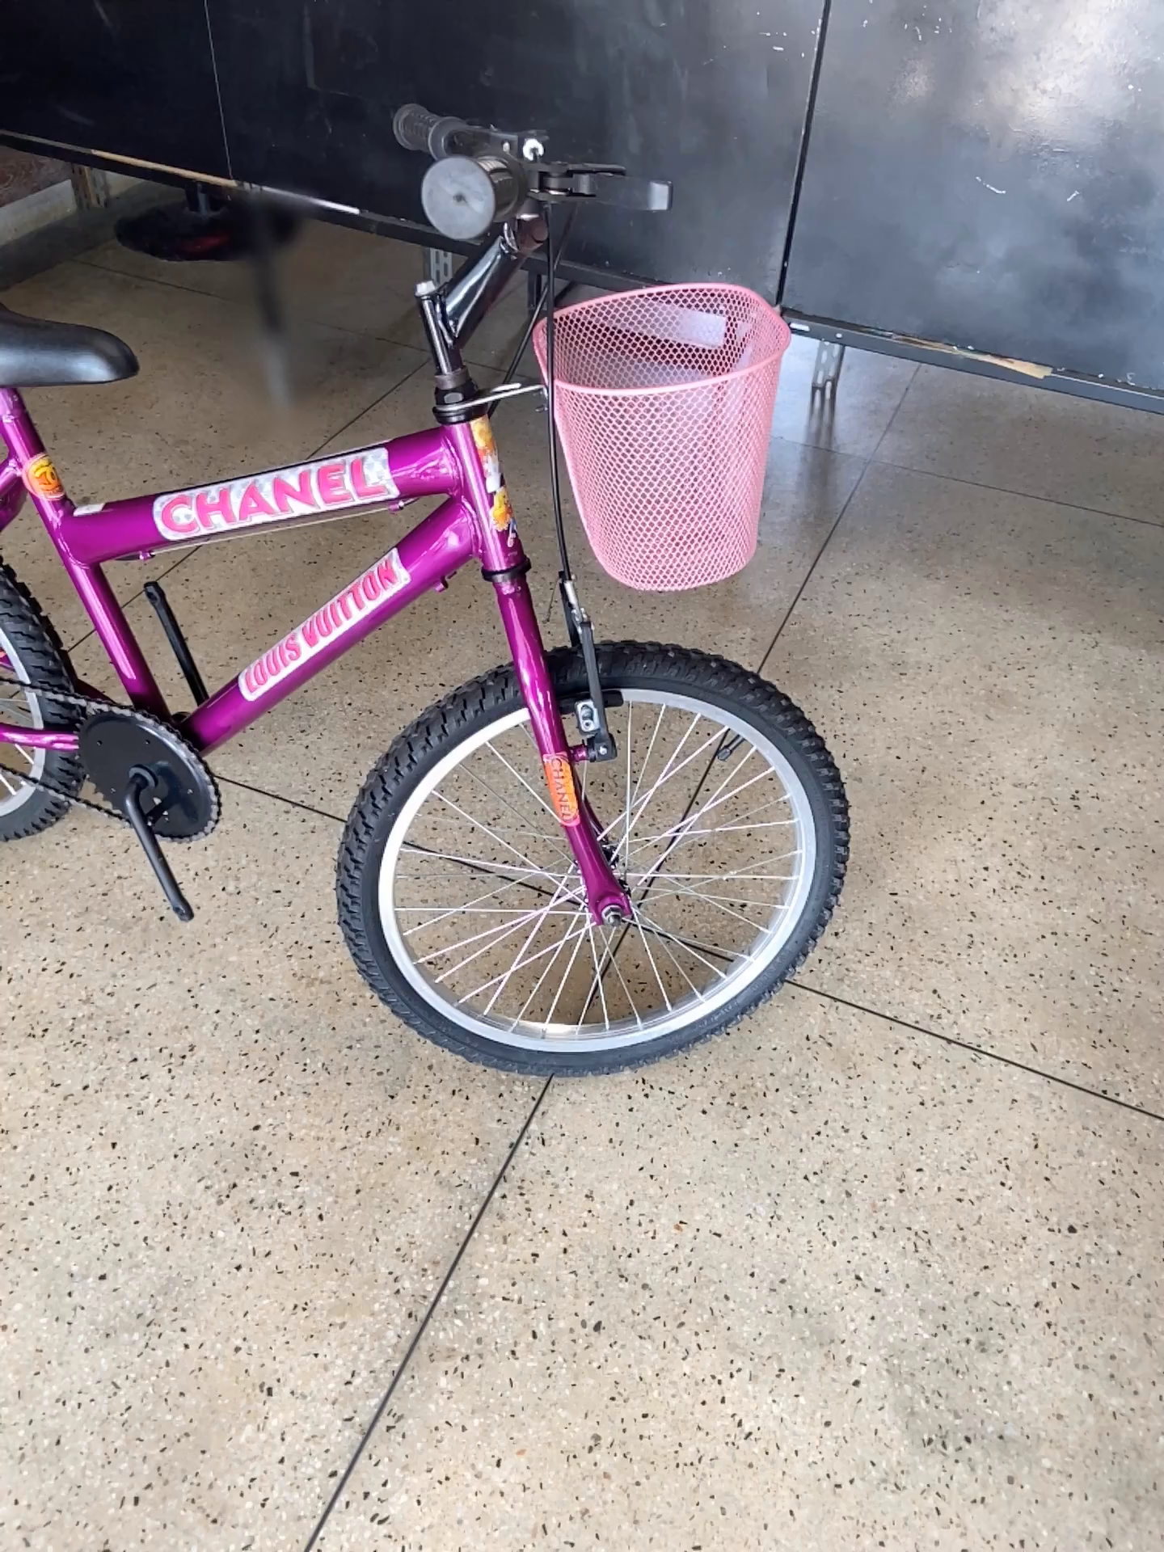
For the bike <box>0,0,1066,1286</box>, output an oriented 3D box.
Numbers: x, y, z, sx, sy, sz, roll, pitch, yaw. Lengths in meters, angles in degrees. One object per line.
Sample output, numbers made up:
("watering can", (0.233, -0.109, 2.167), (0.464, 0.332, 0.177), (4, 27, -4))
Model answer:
("bike", (-0.352, -0.183, 1.122), (1.261, 0.933, 0.618), (13, 44, 10))
